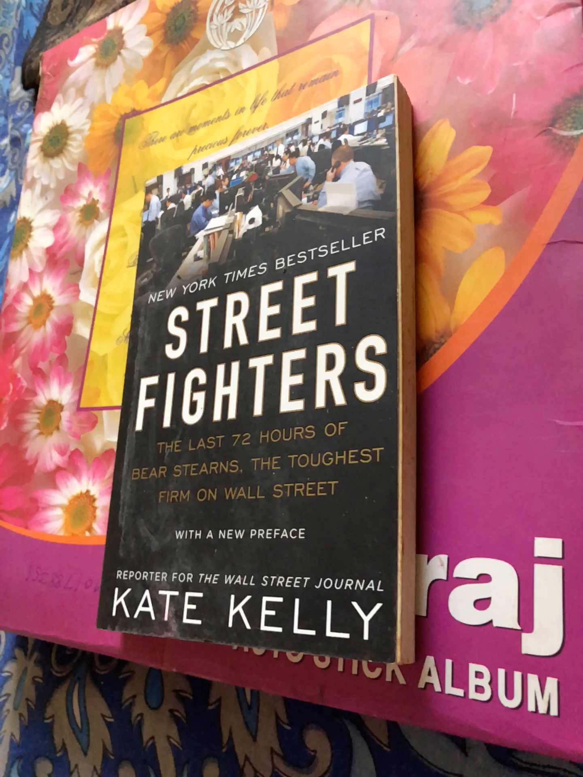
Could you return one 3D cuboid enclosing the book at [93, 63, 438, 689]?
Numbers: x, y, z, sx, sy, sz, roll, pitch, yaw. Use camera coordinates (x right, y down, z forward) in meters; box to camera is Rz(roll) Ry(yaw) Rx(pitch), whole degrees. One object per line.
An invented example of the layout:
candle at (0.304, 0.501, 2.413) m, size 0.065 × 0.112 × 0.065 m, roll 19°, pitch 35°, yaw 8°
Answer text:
book at (-0.015, -0.004, 0.265) m, size 0.141 × 0.030 × 0.210 m, roll -10°, pitch 71°, yaw 38°
